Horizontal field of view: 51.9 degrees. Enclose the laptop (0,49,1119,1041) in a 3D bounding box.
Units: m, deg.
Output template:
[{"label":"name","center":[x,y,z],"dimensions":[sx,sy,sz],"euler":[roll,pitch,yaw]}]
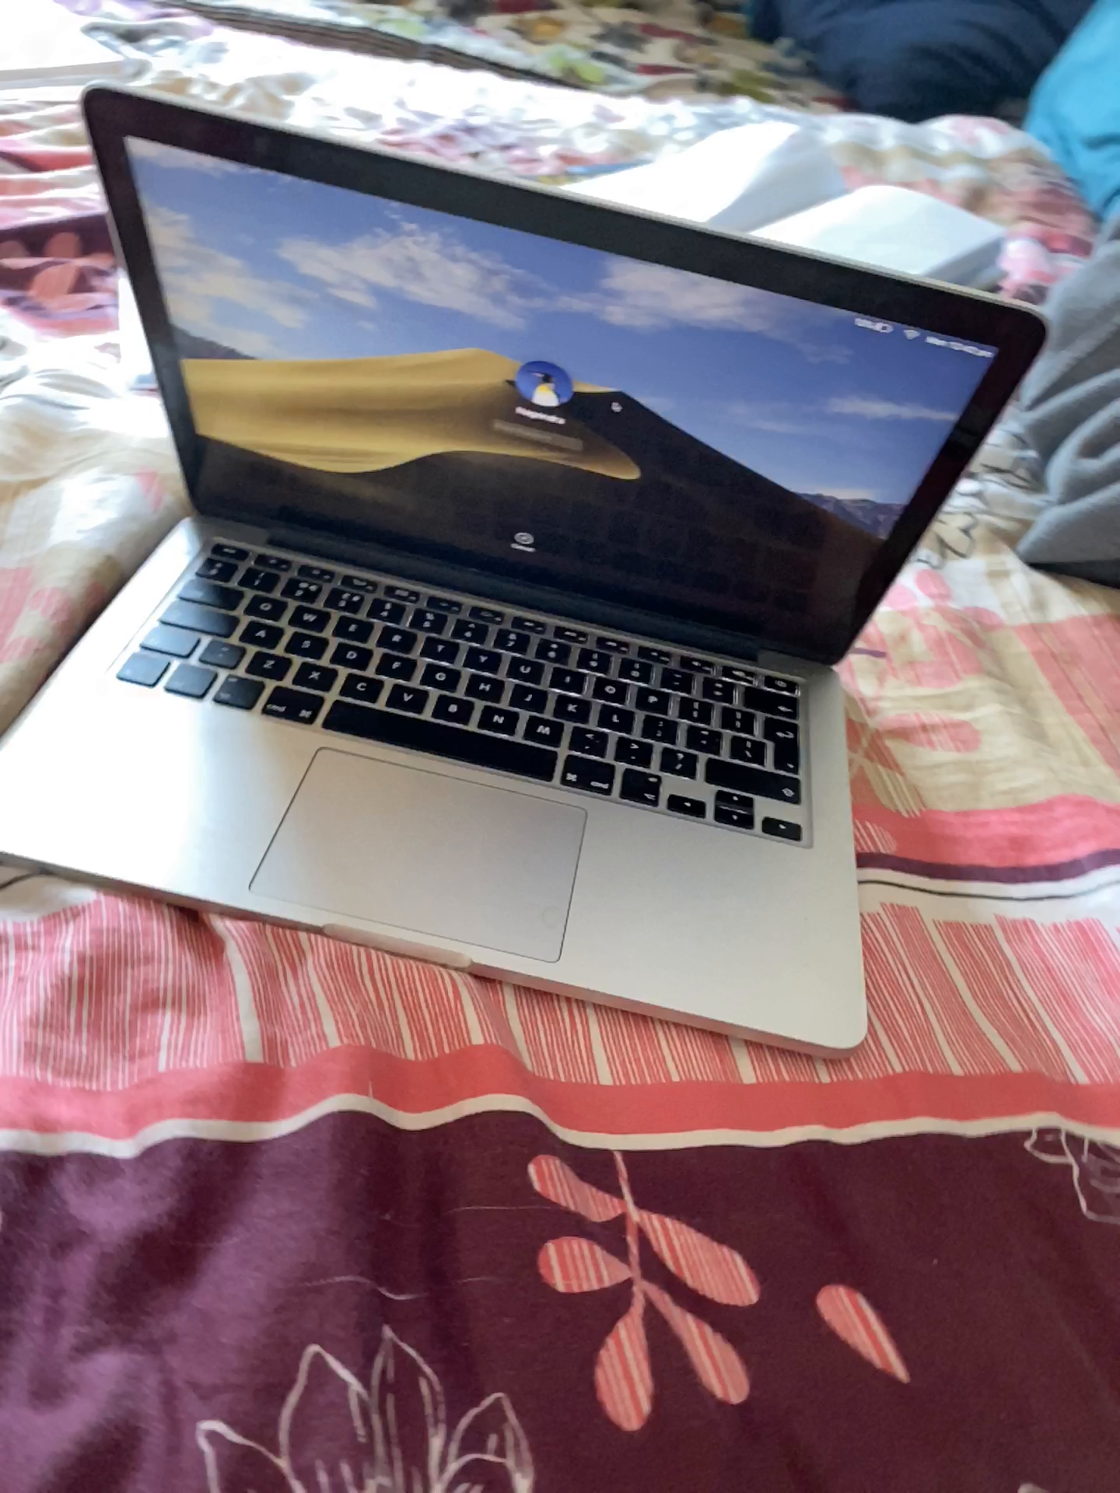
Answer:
[{"label":"laptop","center":[-0.026,-0.074,0.386],"dimensions":[0.303,0.191,0.203],"euler":[13,42,2]}]
